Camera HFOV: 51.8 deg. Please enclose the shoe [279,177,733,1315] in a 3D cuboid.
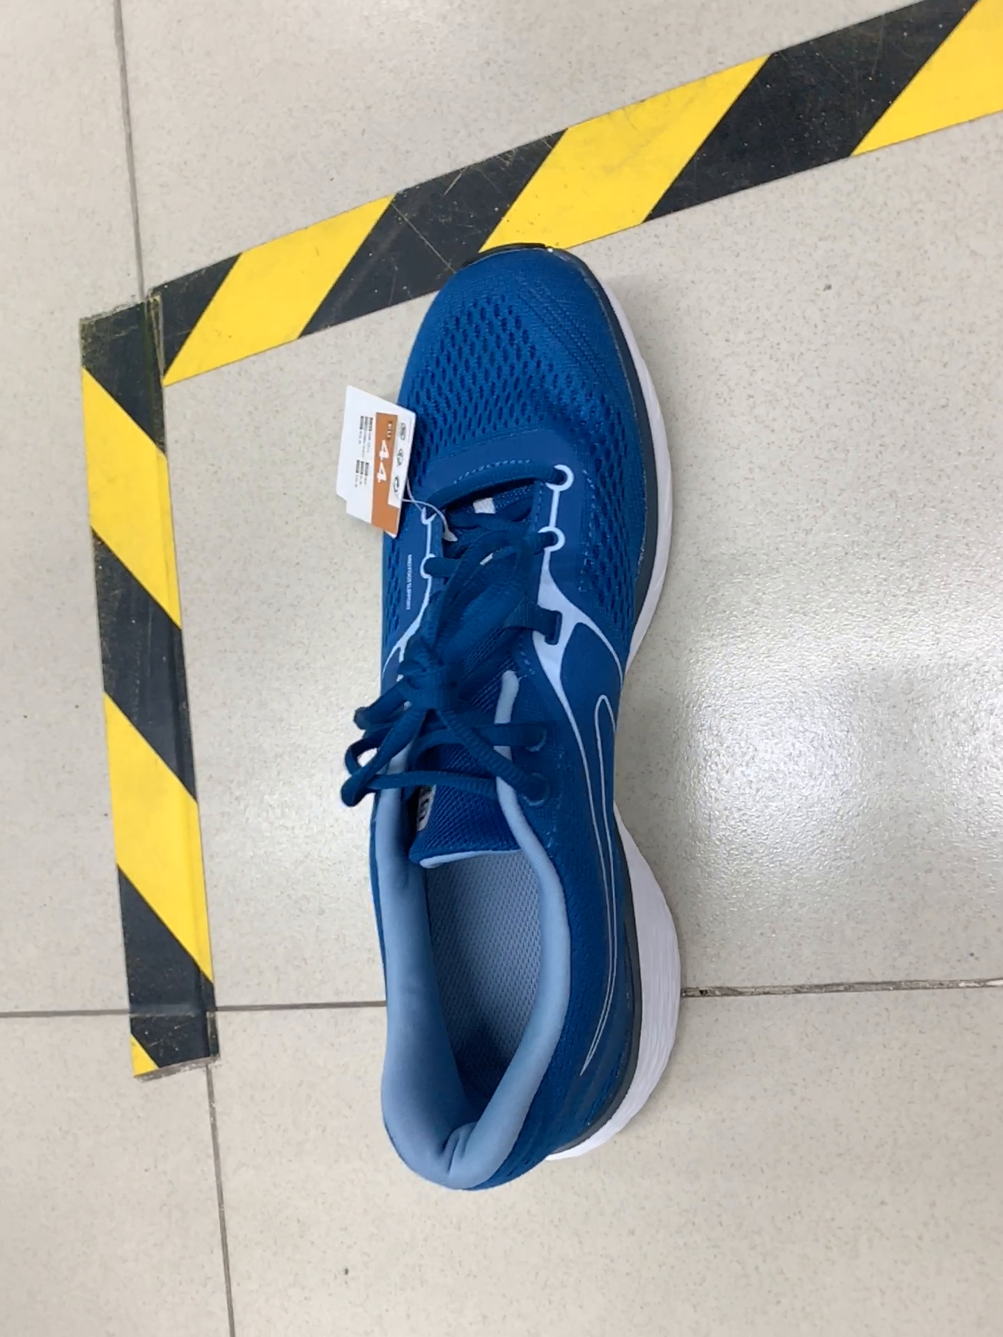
[{"bbox_3d":[0.000,0.017,0.315,0.110,0.070,0.290,-5,80,22],"label":"shoe"}]
